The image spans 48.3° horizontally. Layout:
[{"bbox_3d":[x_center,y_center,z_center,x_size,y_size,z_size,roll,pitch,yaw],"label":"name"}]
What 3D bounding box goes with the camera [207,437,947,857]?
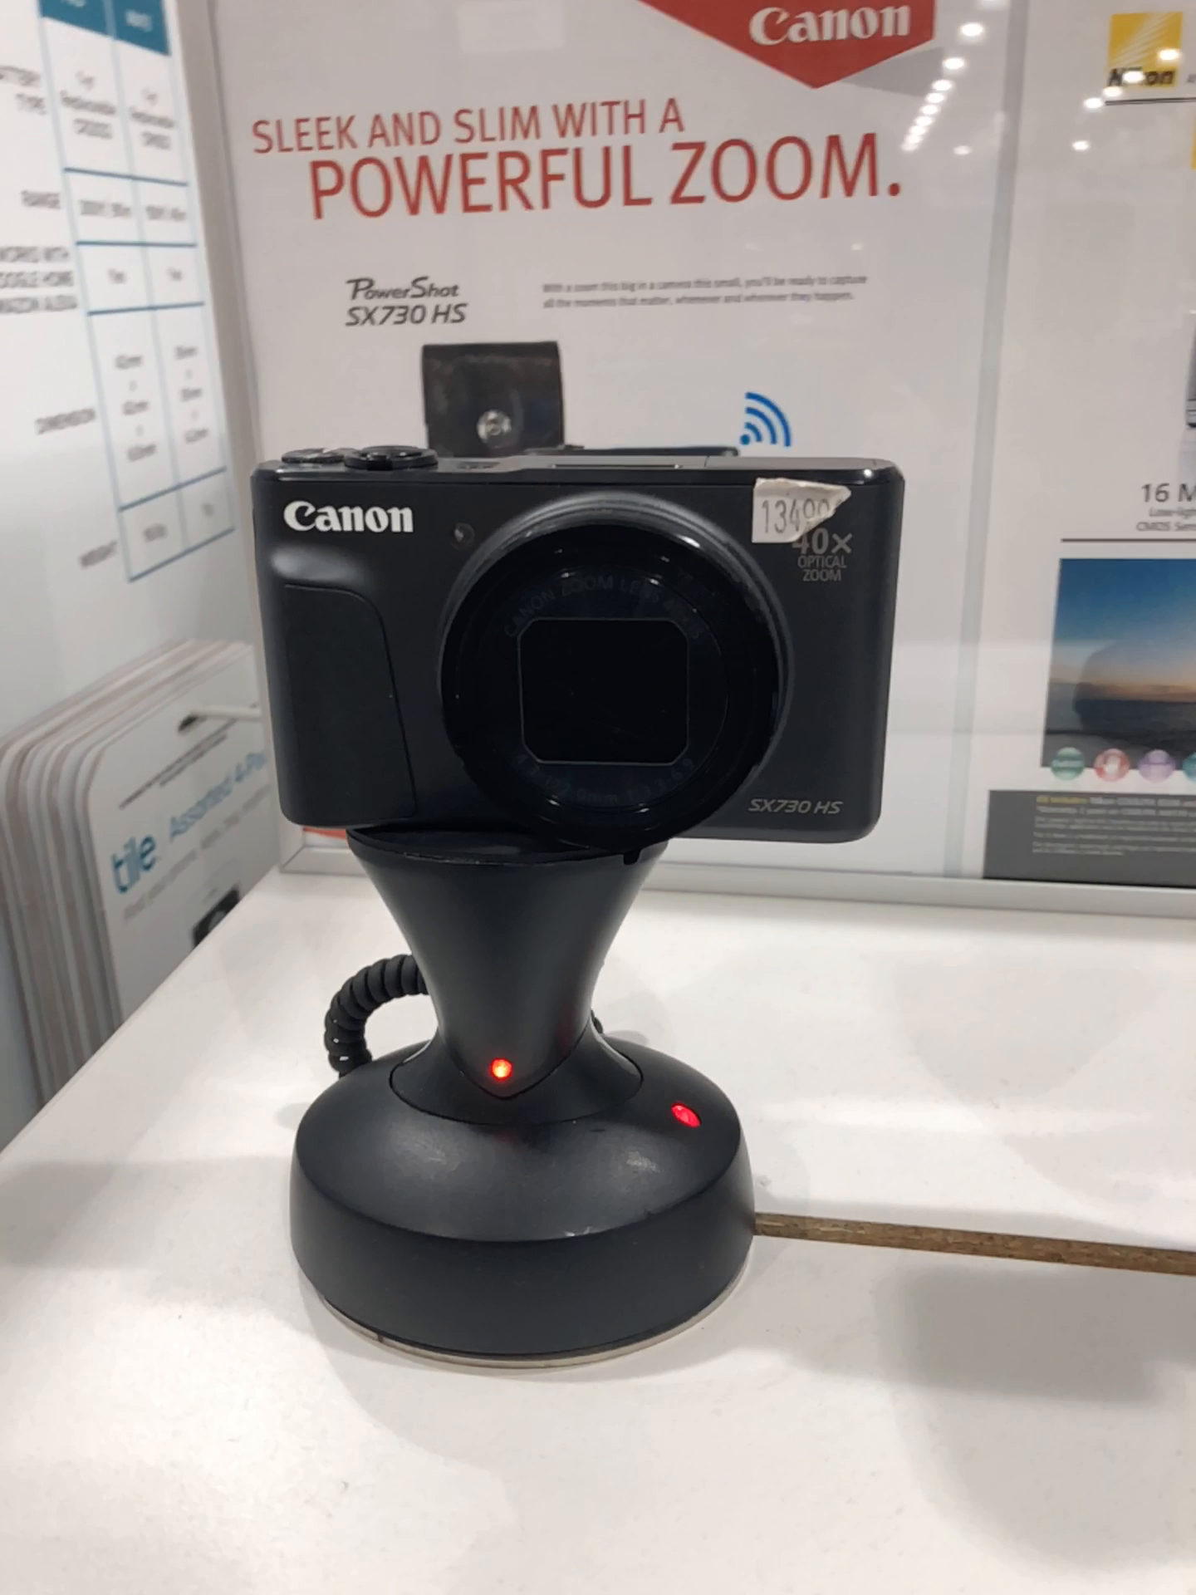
[{"bbox_3d":[-0.002,-0.027,0.225,0.110,0.060,0.040,1,21,8],"label":"camera"}]
